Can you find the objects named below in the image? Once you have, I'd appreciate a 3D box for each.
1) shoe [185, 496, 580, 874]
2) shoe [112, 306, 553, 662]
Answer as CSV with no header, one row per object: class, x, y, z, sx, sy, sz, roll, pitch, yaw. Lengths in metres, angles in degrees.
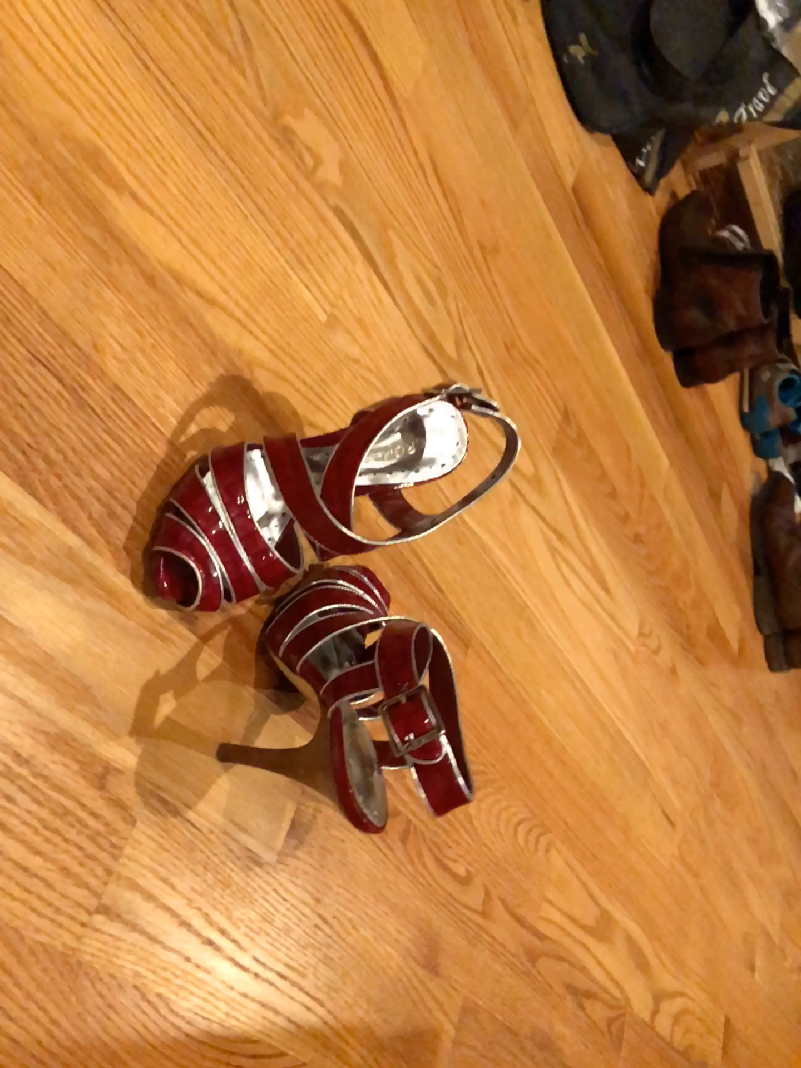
shoe,0.000,0.080,0.519,0.092,0.141,0.194,62,40,-27
shoe,-0.027,-0.030,0.501,0.199,0.151,0.092,-54,126,-45
